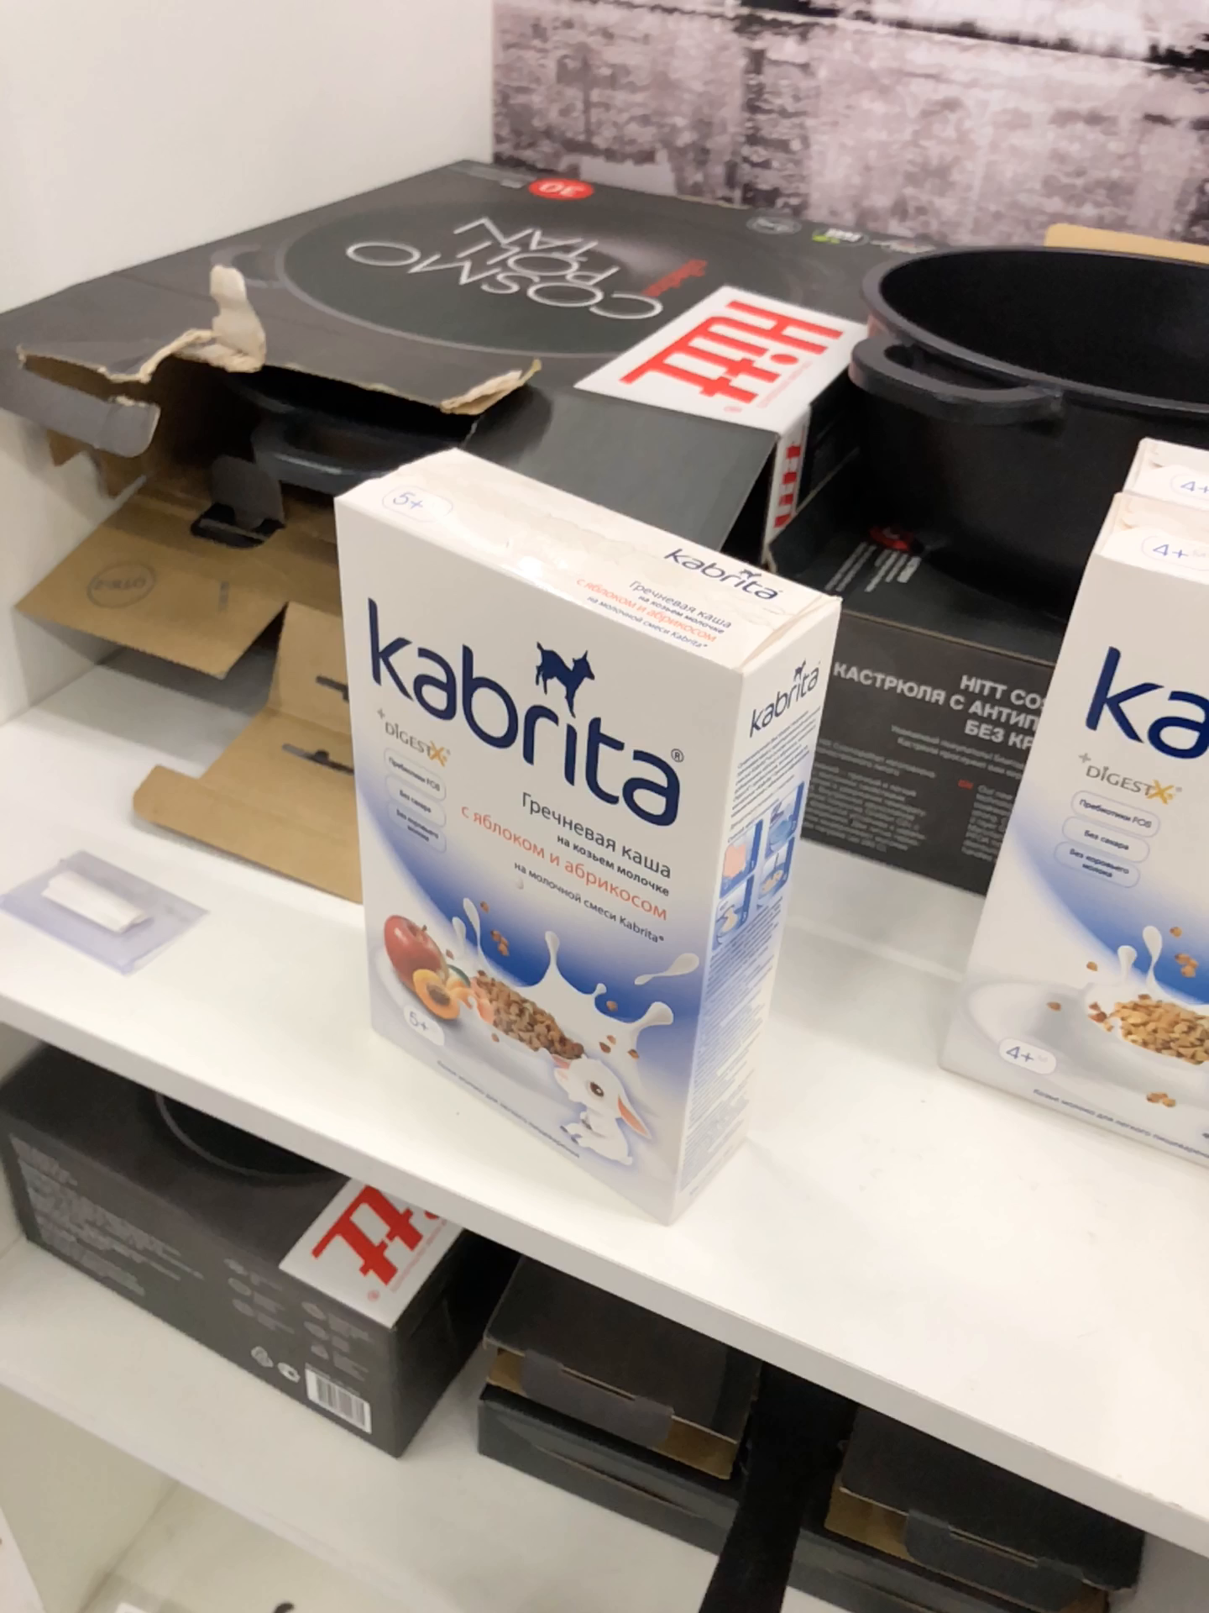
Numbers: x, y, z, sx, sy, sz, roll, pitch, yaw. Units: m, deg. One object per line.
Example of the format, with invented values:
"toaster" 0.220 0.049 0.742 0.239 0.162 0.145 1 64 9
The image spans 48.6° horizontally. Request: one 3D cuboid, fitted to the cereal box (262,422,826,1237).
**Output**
"cereal box" -0.025 0.010 0.391 0.140 0.199 0.050 26 41 27
